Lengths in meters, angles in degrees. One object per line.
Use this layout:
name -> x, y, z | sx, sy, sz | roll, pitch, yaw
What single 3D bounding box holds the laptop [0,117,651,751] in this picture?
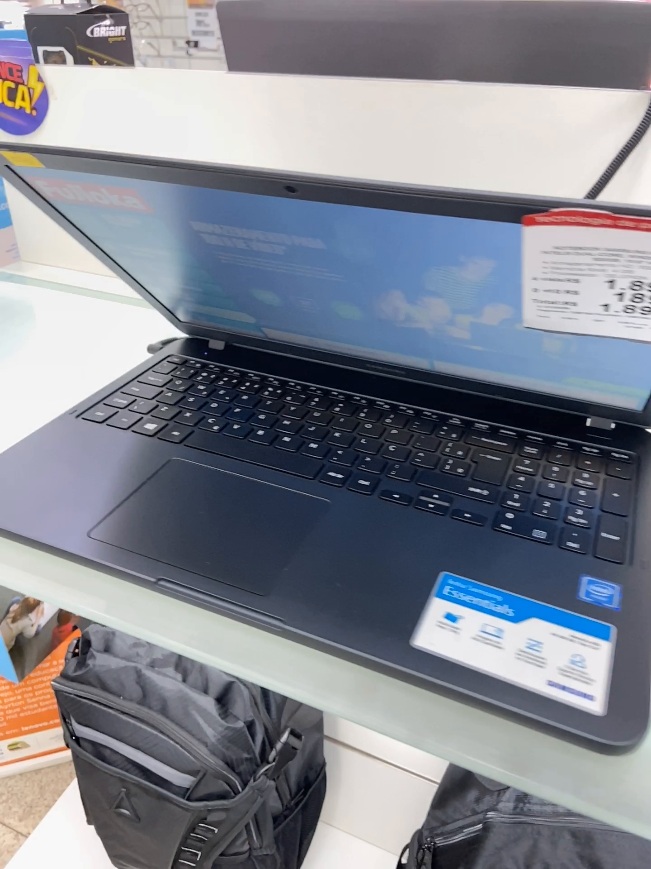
laptop -> -0.003, -0.054, 0.370 | 0.372, 0.173, 0.246 | 13, 34, 20
